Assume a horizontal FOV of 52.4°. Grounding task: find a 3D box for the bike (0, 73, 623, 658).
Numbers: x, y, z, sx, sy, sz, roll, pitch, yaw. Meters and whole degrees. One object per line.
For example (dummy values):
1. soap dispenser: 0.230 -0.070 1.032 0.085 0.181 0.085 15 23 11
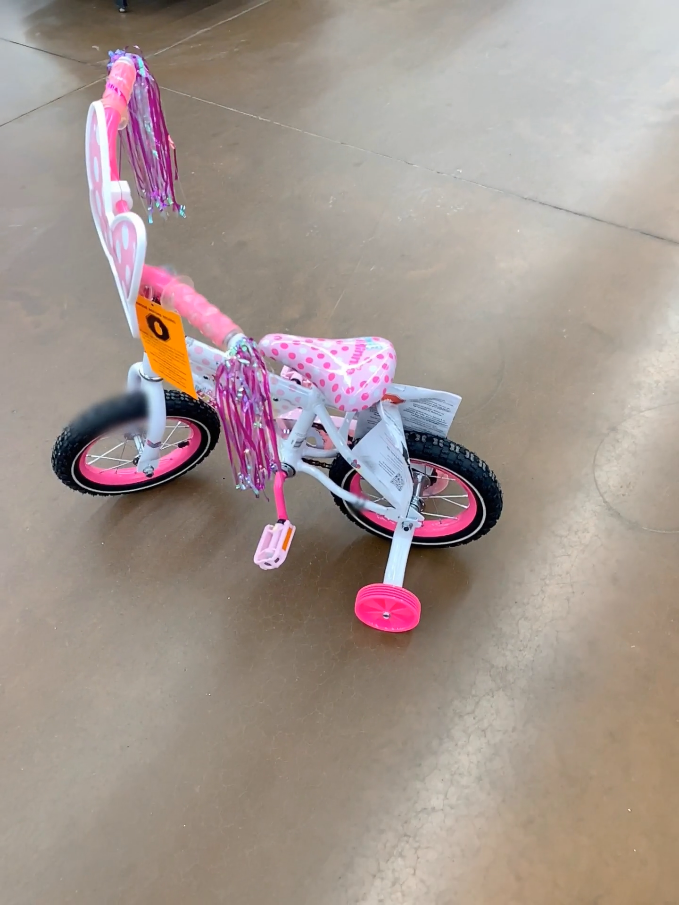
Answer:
1. bike: -0.103 -0.121 1.033 0.724 0.648 0.503 5 49 7
